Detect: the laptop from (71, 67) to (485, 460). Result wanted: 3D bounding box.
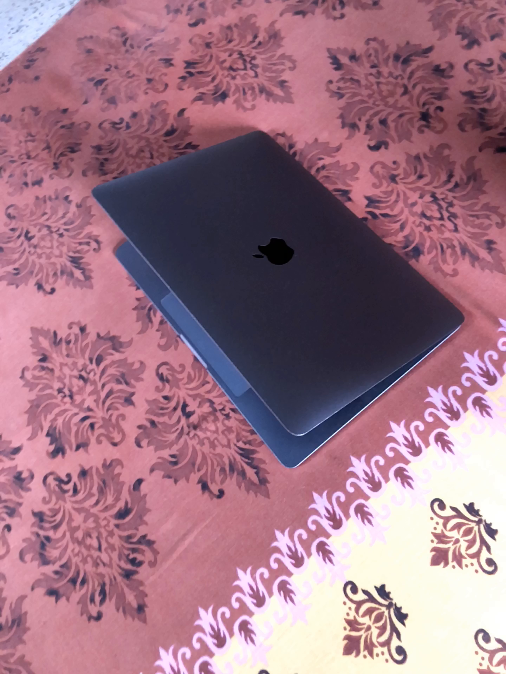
[{"bbox_3d":[0.012,-0.072,0.497,0.204,0.093,0.286,-39,68,-4],"label":"laptop"}]
